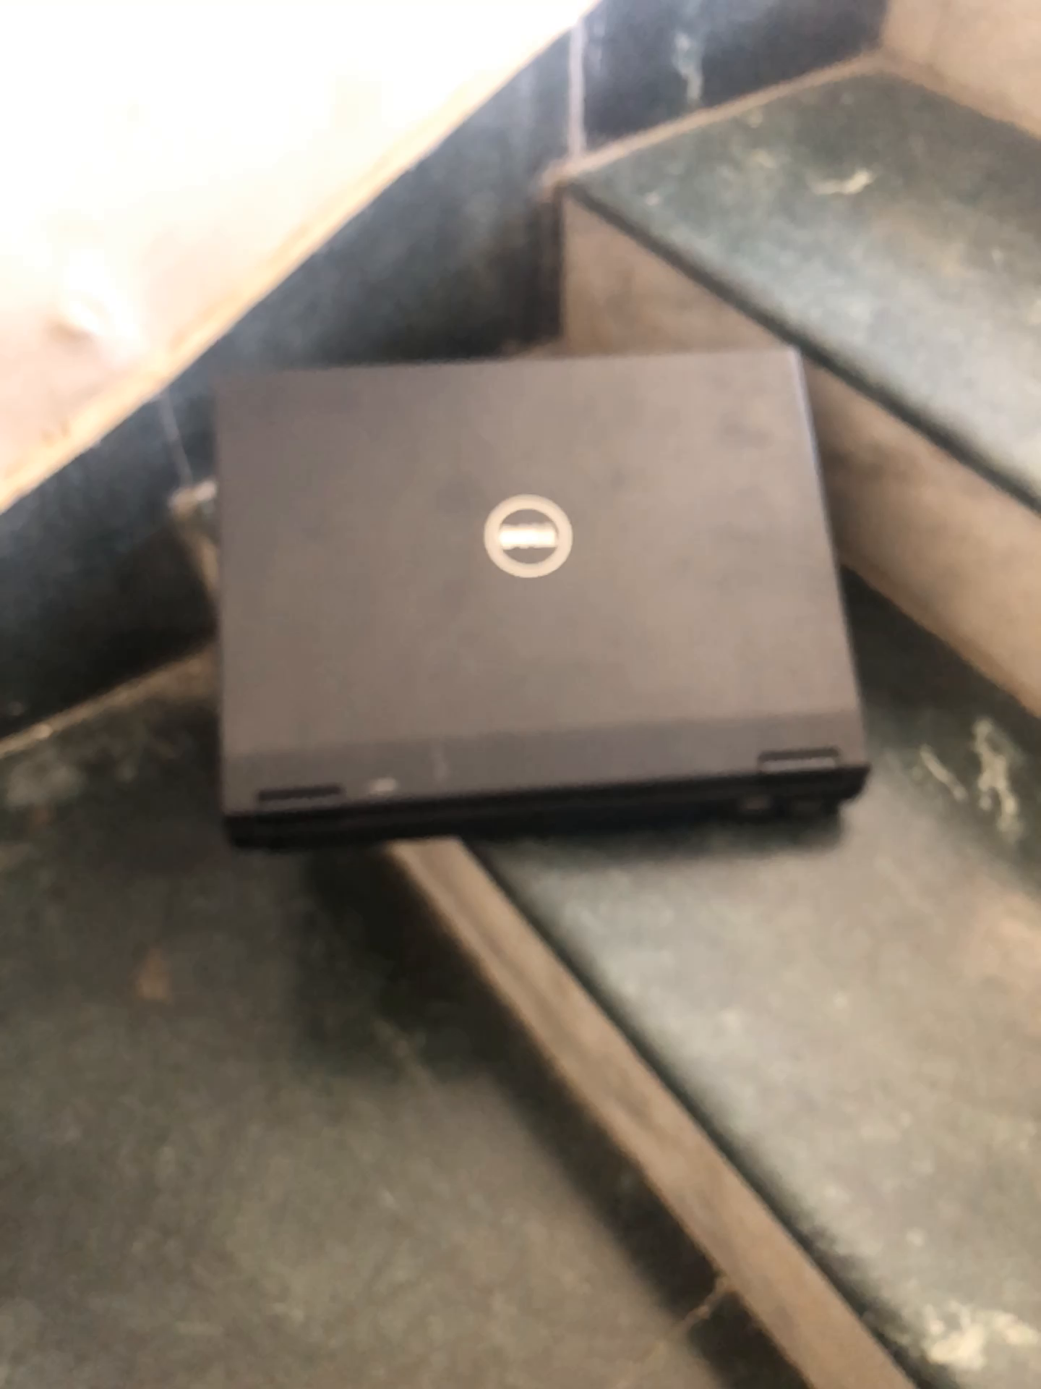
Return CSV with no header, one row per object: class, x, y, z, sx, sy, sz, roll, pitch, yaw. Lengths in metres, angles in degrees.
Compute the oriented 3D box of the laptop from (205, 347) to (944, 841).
laptop,0.009,-0.061,0.587,0.302,0.095,0.233,-4,50,-6
